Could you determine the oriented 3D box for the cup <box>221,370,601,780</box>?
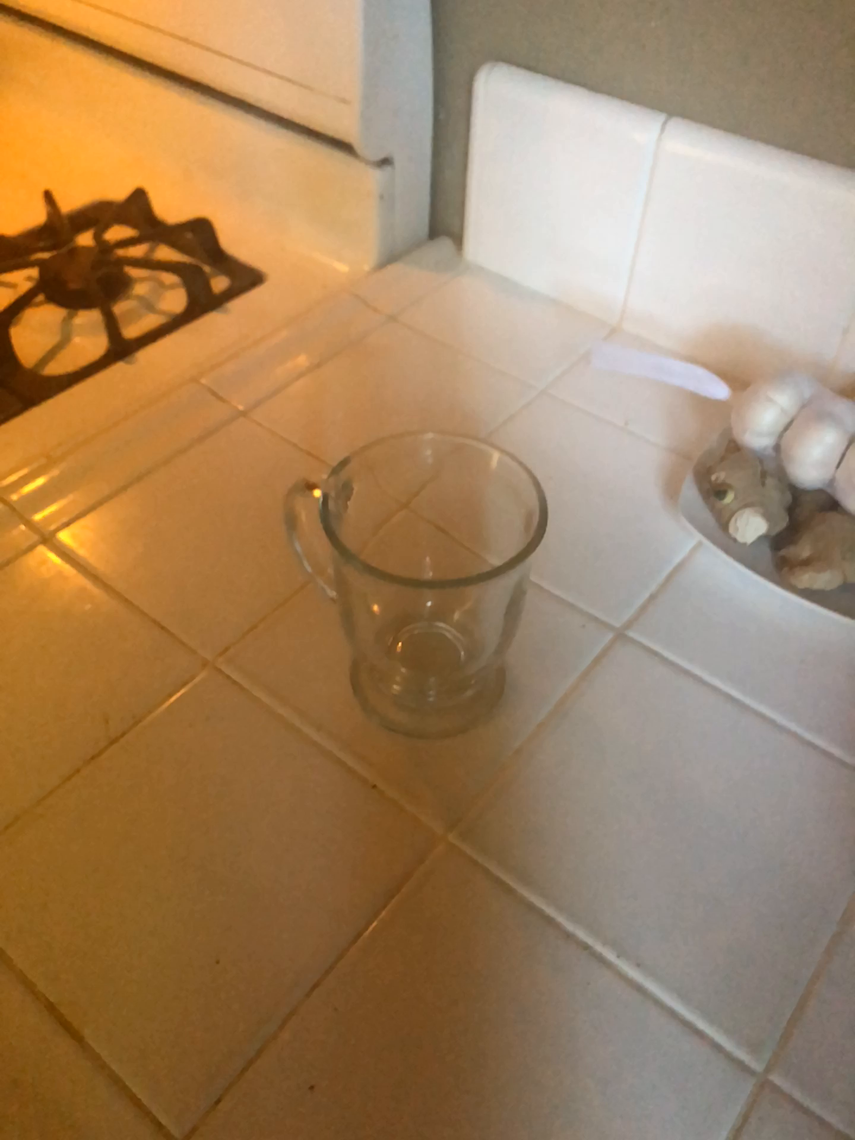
[{"bbox_3d":[-0.007,0.001,0.453,0.130,0.119,0.101,26,52,20],"label":"cup"}]
